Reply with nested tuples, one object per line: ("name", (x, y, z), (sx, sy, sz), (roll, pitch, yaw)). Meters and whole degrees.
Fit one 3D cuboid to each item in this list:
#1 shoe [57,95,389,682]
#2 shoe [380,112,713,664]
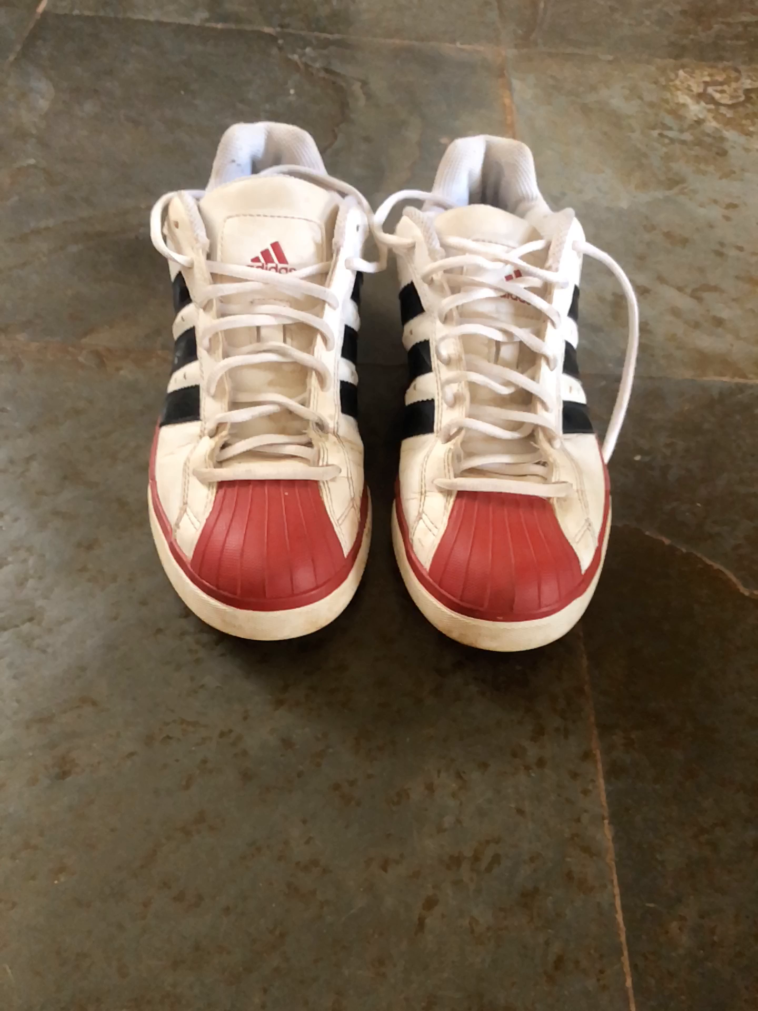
("shoe", (-0.063, -0.068, 0.413), (0.110, 0.129, 0.272), (0, 53, -5))
("shoe", (0.060, -0.070, 0.420), (0.110, 0.109, 0.272), (2, 53, -3))
